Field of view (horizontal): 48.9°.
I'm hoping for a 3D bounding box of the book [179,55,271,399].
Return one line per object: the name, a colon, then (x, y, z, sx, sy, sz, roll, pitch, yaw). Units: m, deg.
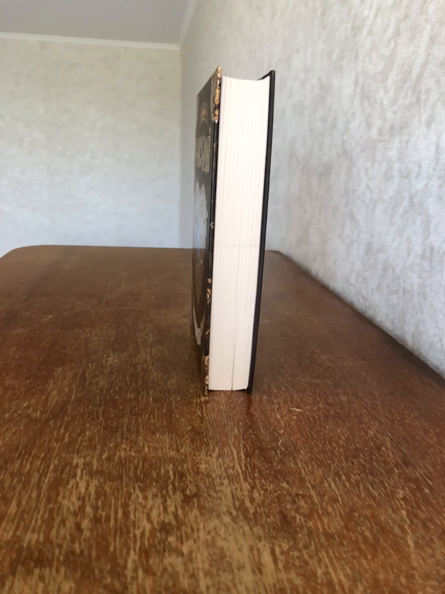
book: (-0.007, -0.058, 0.408, 0.041, 0.228, 0.167, 1, 15, -8)
